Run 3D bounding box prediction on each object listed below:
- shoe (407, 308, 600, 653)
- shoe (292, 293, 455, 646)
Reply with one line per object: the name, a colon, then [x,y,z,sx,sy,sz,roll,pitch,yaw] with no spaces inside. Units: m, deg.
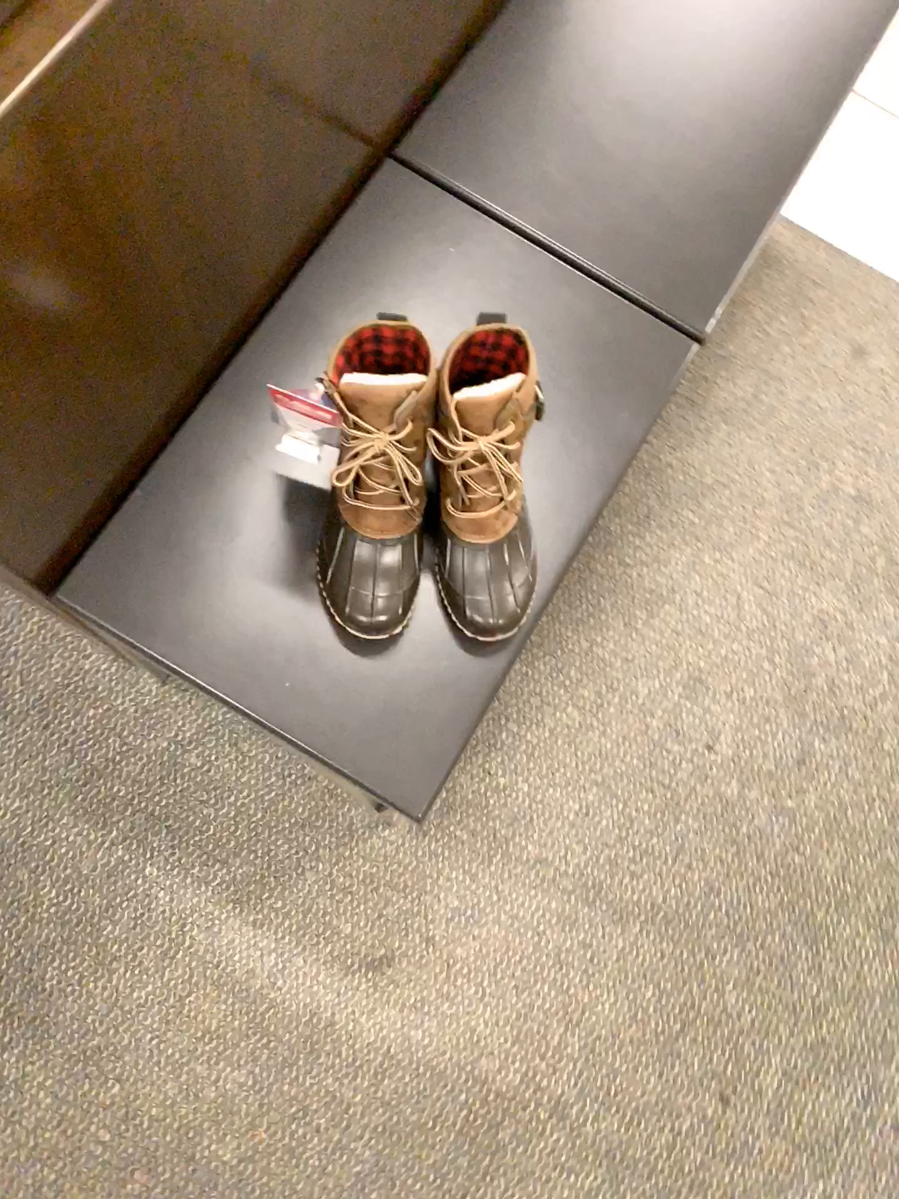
shoe: [0.036,-0.092,0.764,0.100,0.150,0.240,-7,77,-8]
shoe: [-0.061,-0.098,0.749,0.100,0.150,0.240,5,75,-5]
